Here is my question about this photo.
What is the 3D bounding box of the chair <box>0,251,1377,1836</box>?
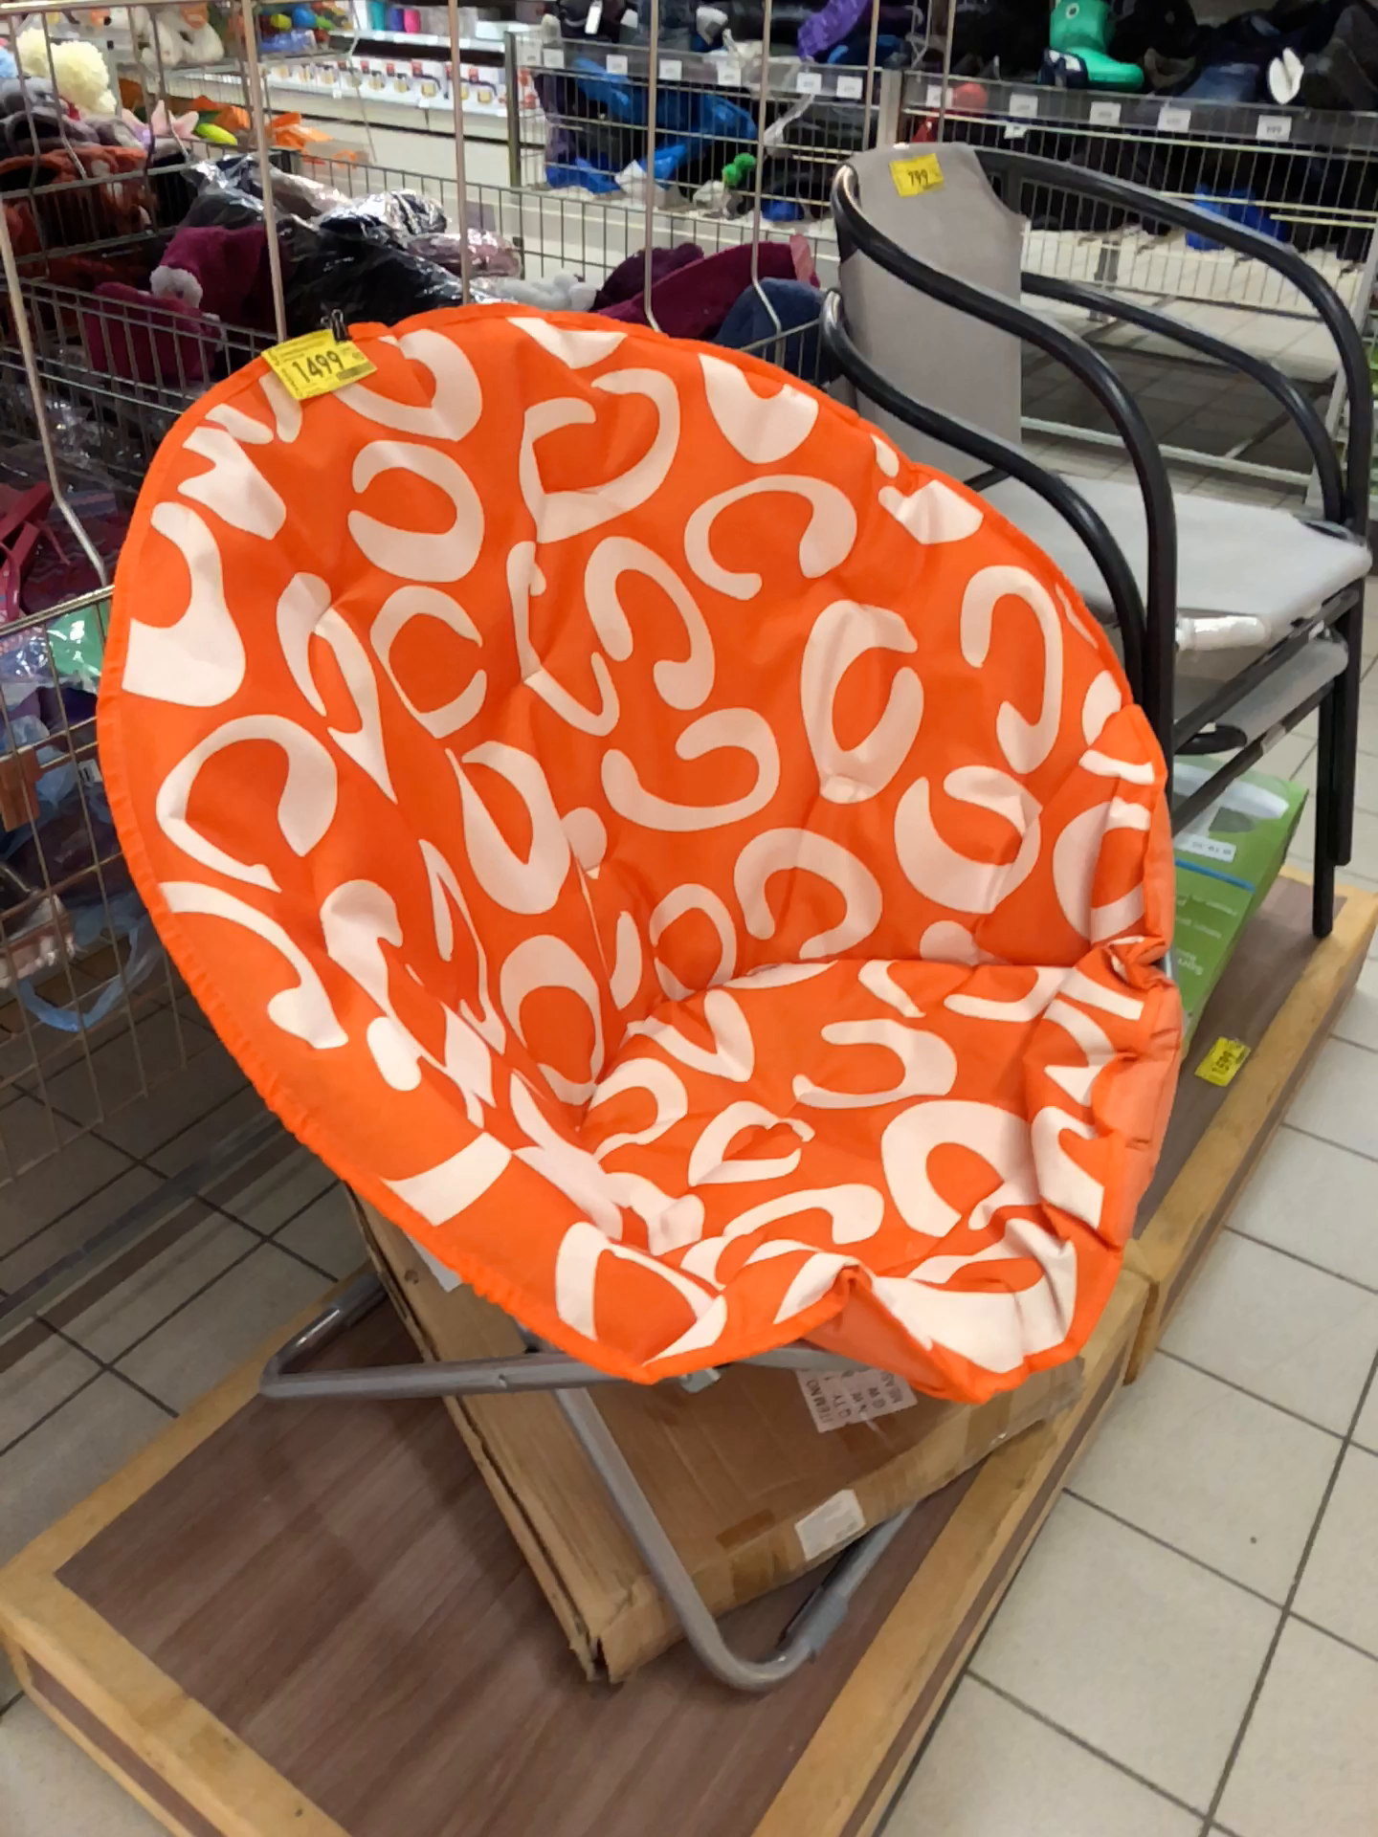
[{"bbox_3d":[-0.014,-0.036,1.039,0.711,0.606,0.738,23,40,29],"label":"chair"}]
